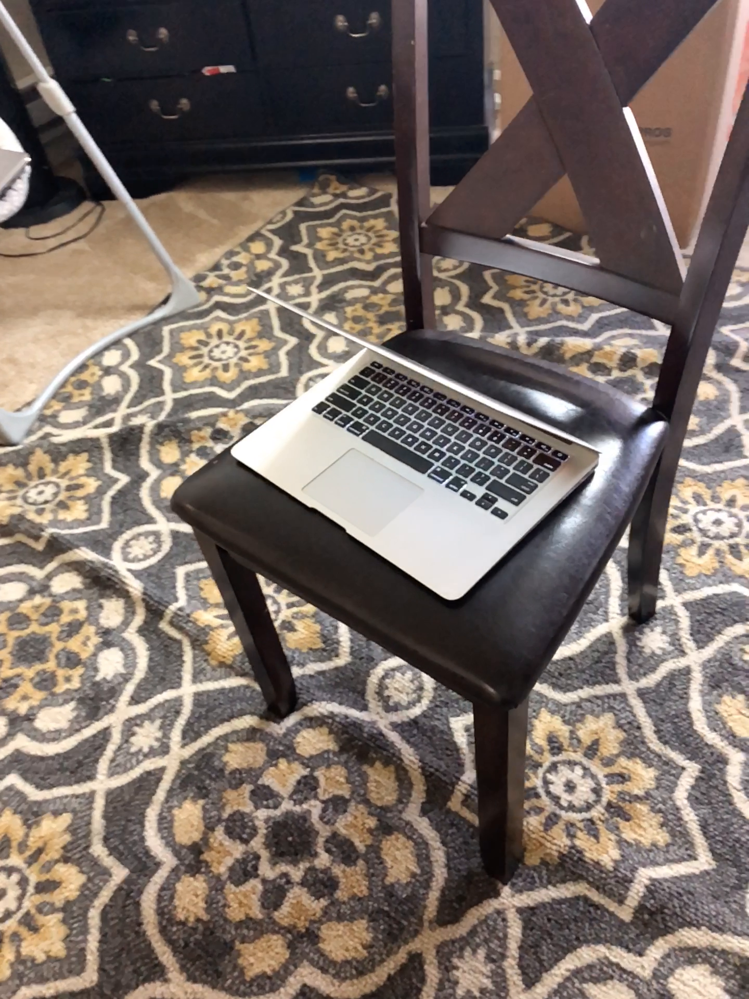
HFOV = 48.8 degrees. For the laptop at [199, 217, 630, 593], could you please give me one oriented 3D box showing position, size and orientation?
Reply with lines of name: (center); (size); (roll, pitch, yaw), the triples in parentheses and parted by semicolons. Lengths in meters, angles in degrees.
laptop: (0.033, -0.104, 0.764); (0.304, 0.154, 0.215); (33, 58, 33)
